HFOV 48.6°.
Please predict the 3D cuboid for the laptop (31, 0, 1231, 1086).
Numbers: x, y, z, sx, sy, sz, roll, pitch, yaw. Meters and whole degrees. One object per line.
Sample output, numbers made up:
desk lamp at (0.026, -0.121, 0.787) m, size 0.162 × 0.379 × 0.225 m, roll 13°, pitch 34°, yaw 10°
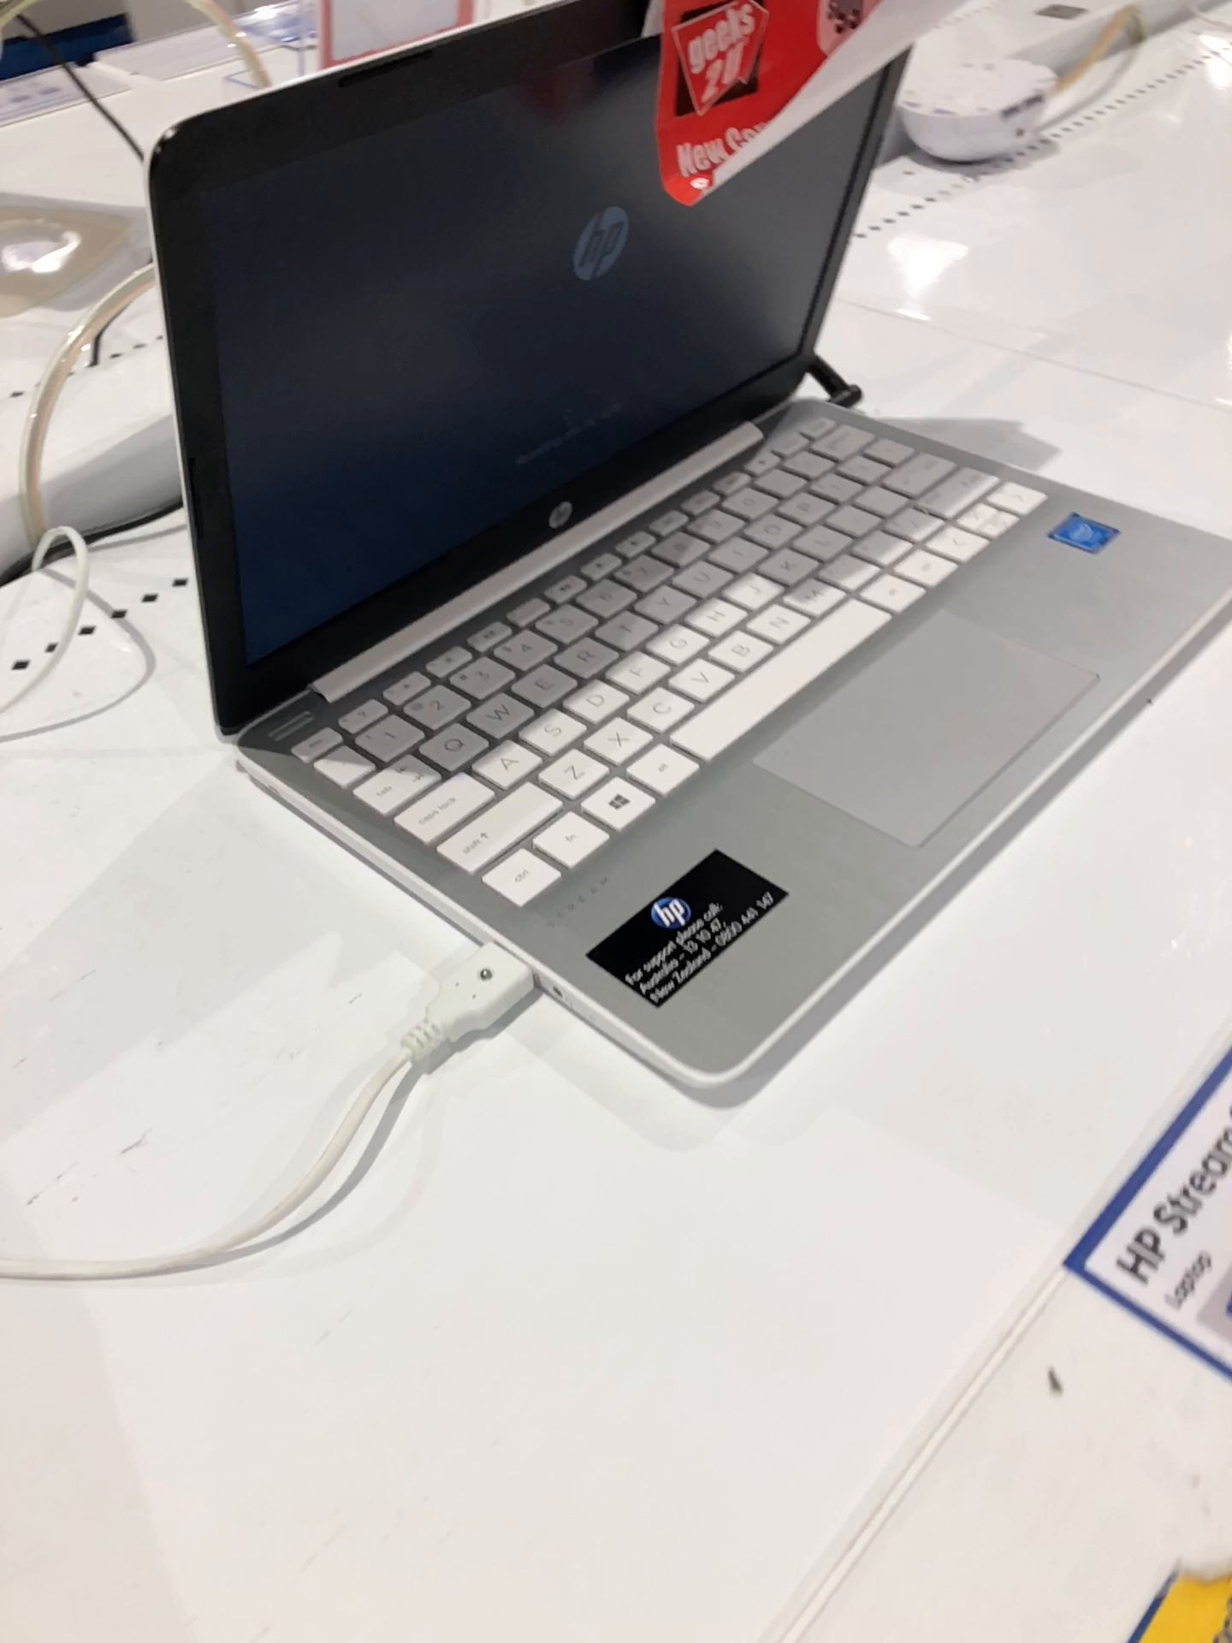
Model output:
laptop at (0.043, -0.118, 0.360) m, size 0.183 × 0.173 × 0.273 m, roll 30°, pitch 52°, yaw 31°
